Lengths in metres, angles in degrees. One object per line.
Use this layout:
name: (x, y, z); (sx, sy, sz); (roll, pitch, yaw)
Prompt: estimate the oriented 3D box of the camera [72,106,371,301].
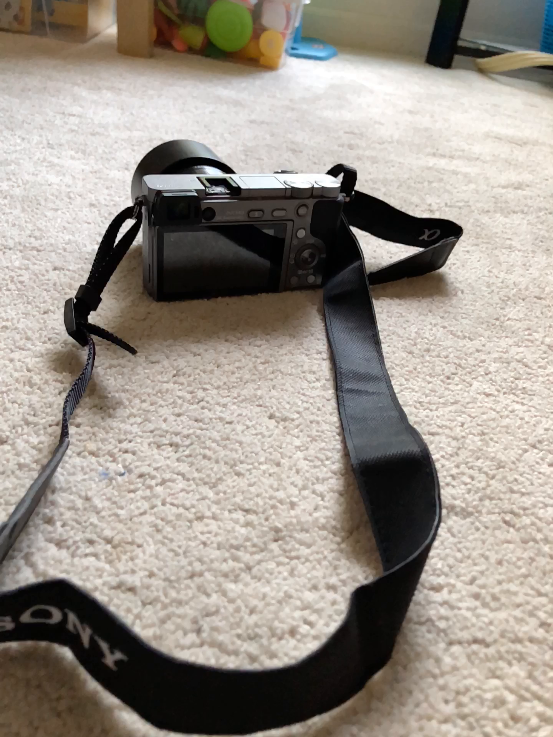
camera: (-0.038, -0.103, 0.365); (0.140, 0.070, 0.110); (-8, 37, -23)
